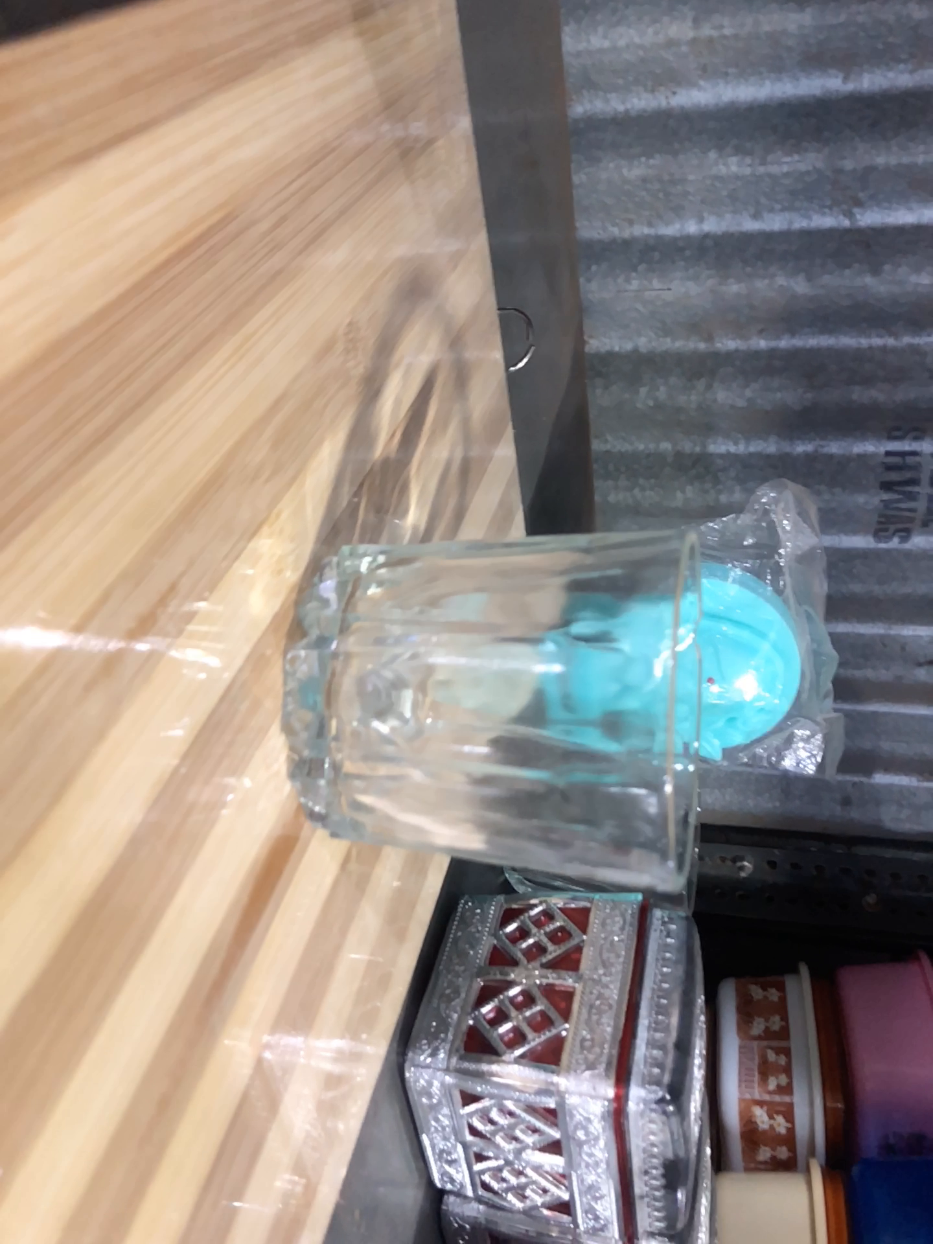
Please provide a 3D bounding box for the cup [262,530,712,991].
[{"bbox_3d":[0.011,0.026,0.229,0.080,0.080,0.080,1,90,-75],"label":"cup"}]
